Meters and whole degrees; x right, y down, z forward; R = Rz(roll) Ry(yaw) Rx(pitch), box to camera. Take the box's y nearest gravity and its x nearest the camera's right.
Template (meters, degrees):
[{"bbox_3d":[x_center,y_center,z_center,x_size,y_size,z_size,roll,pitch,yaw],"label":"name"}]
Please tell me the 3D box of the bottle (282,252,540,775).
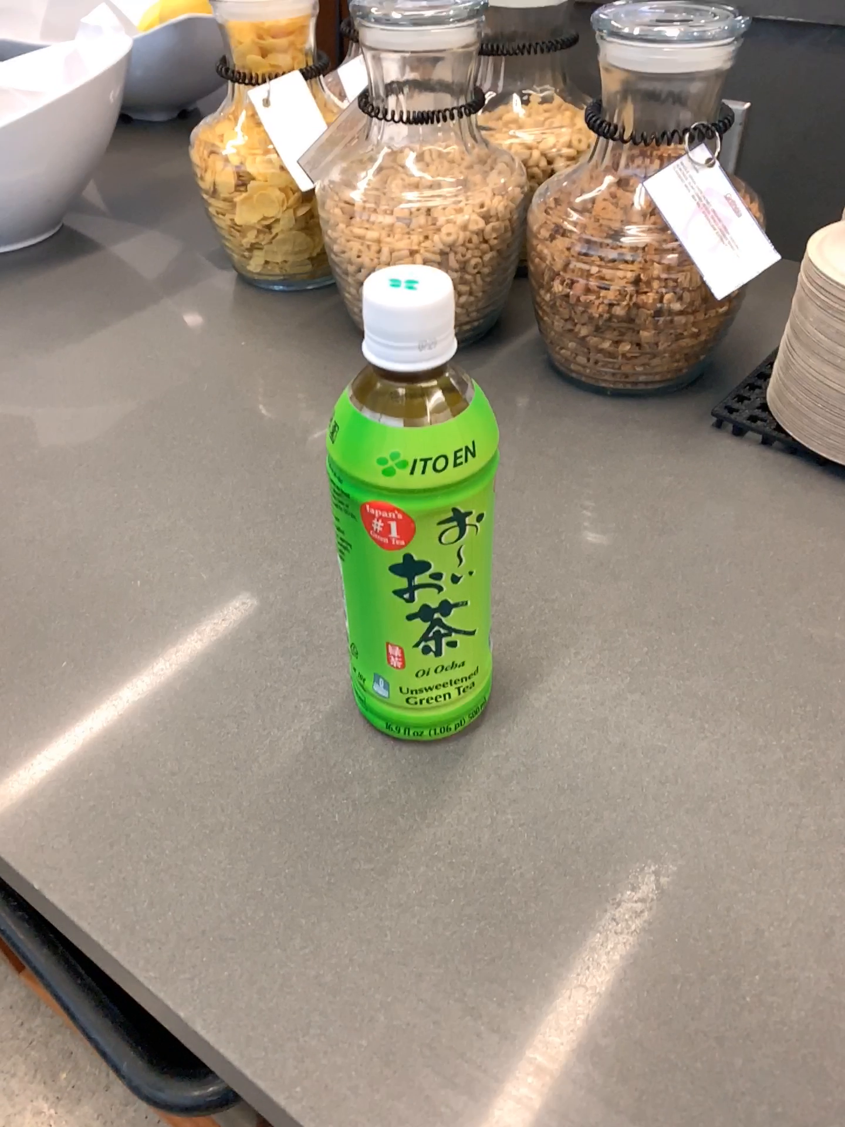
[{"bbox_3d":[-0.004,-0.010,0.351,0.070,0.199,0.070,-1,41,1],"label":"bottle"}]
